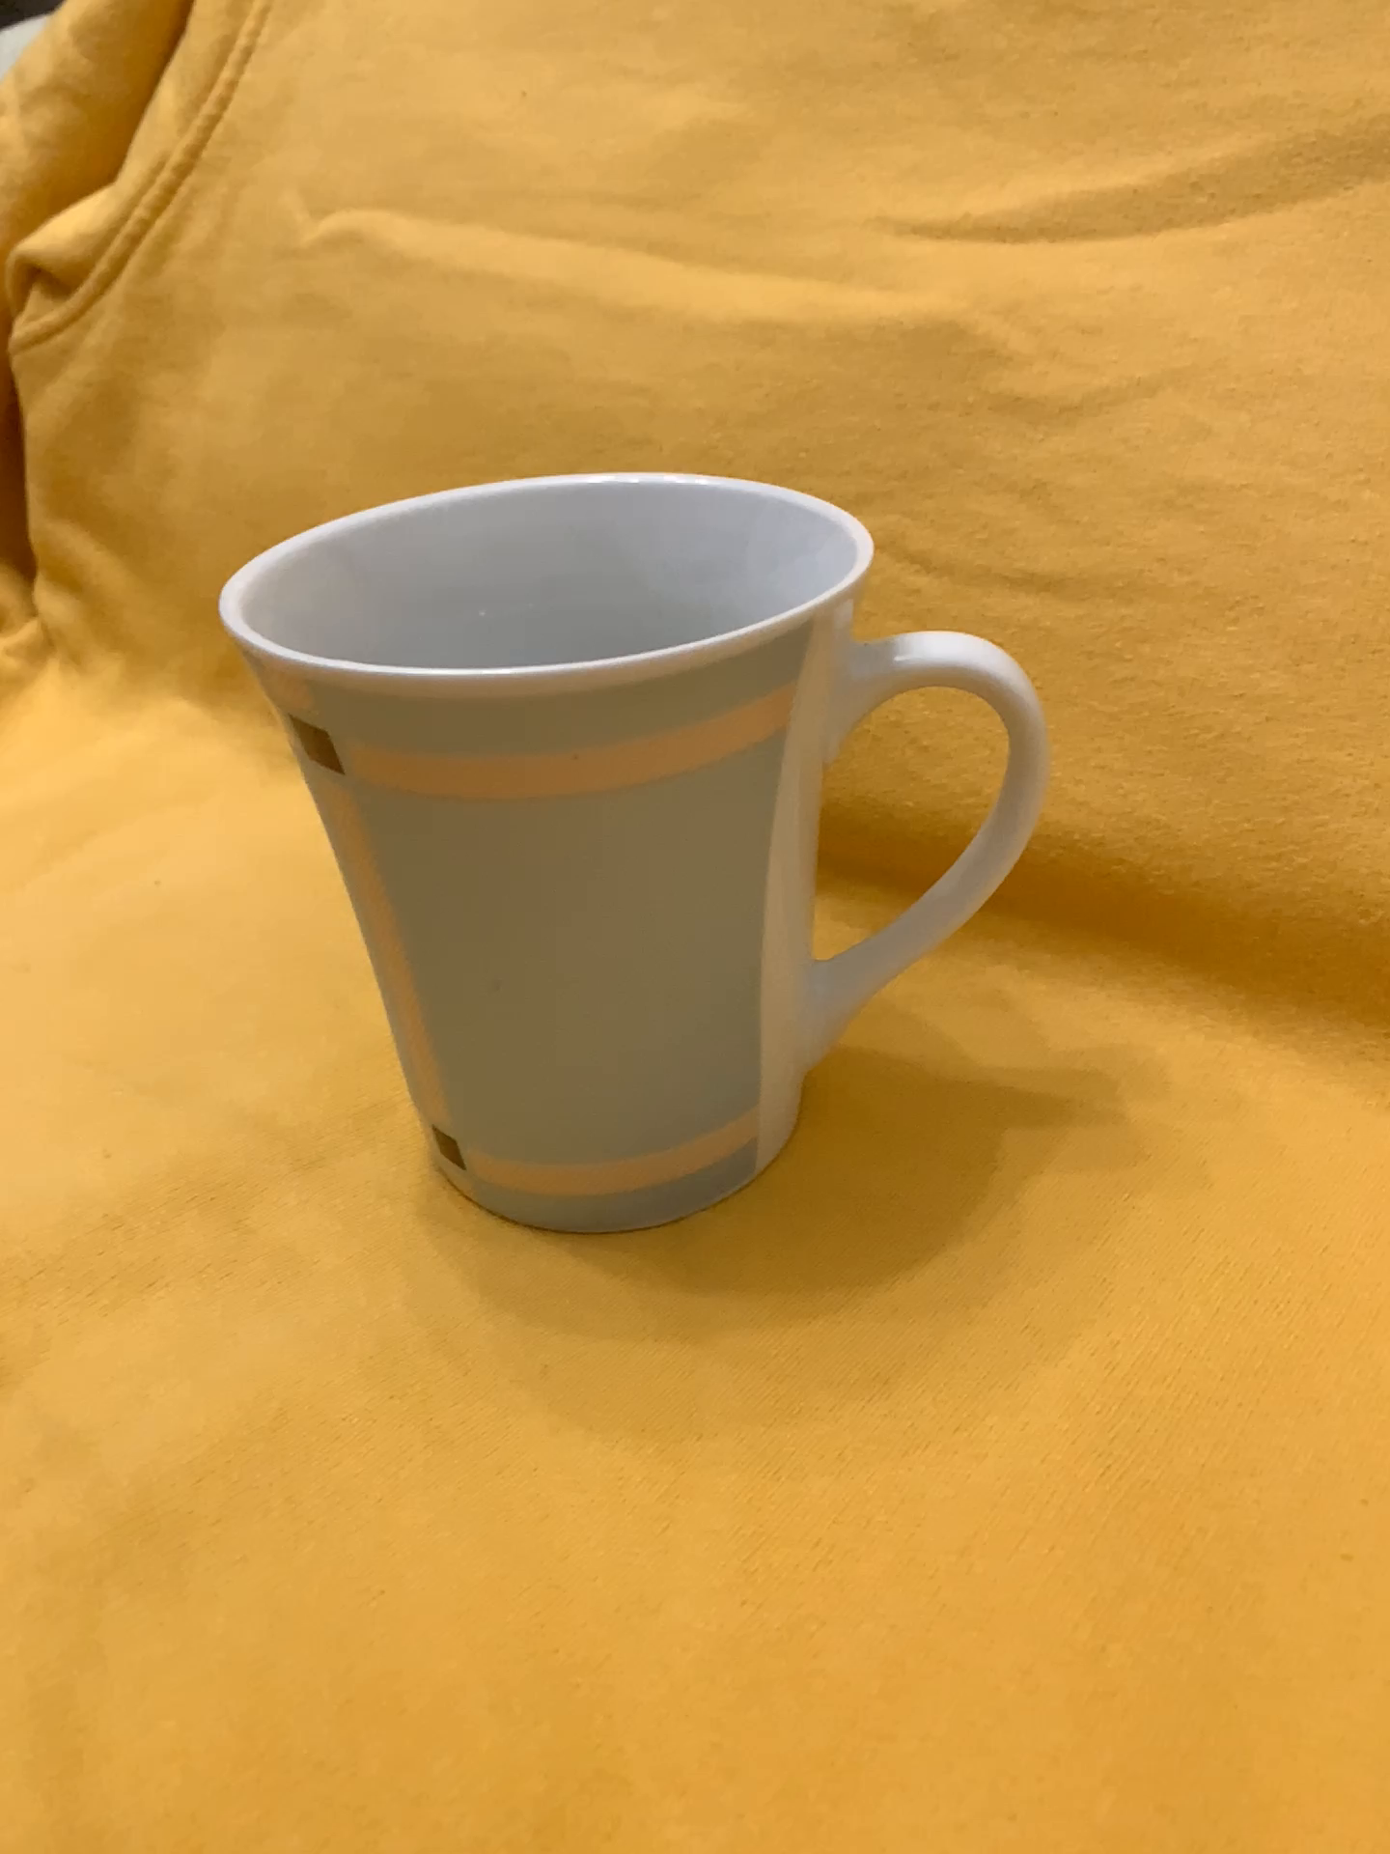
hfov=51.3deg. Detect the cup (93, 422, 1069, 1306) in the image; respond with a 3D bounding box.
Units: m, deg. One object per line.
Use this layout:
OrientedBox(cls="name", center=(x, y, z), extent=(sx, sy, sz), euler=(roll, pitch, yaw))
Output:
OrientedBox(cls="cup", center=(-0.005, -0.015, 0.240), extent=(0.120, 0.103, 0.099), euler=(1, 33, 11))
